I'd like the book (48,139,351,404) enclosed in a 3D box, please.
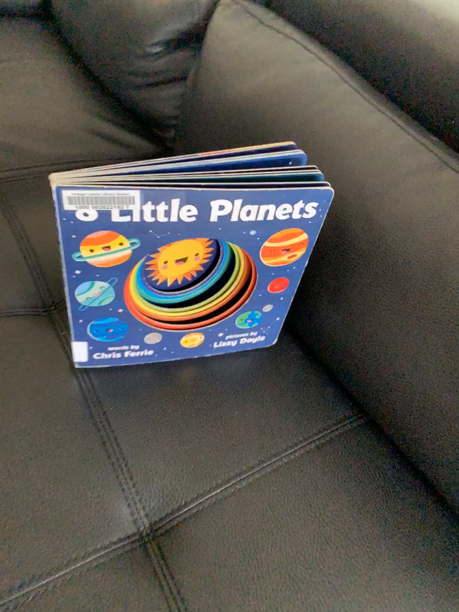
[{"bbox_3d":[-0.035,-0.027,0.419,0.207,0.211,0.079,-9,48,-20],"label":"book"}]
